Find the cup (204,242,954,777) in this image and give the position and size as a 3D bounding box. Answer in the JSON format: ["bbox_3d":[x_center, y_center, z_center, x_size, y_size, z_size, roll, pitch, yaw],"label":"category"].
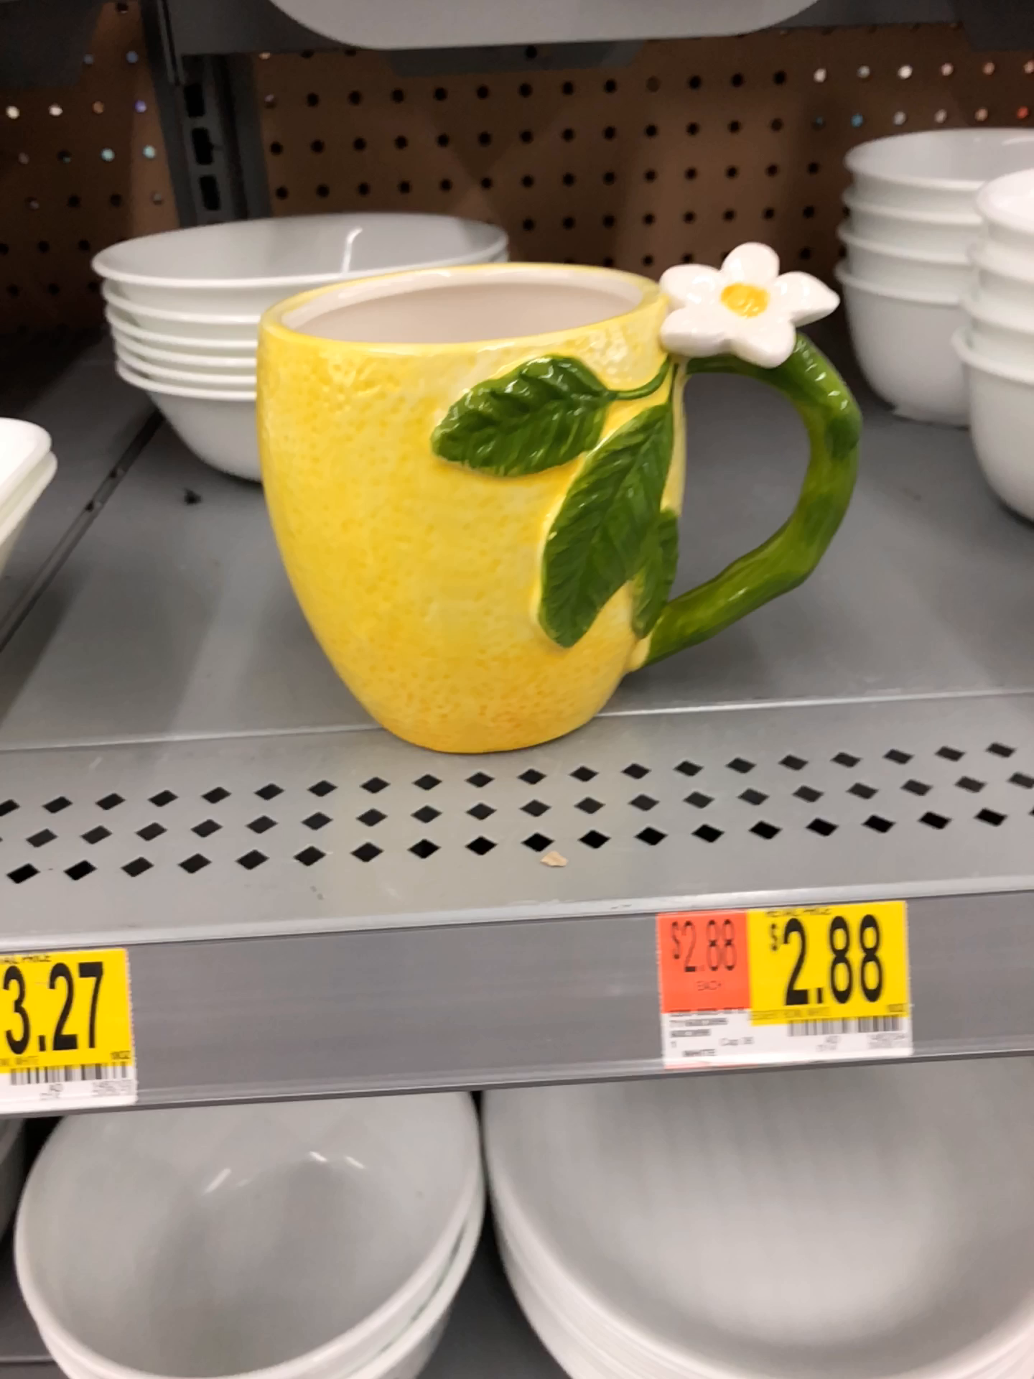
[{"bbox_3d":[0.013,-0.048,0.283,0.139,0.094,0.101,-2,30,2],"label":"cup"}]
